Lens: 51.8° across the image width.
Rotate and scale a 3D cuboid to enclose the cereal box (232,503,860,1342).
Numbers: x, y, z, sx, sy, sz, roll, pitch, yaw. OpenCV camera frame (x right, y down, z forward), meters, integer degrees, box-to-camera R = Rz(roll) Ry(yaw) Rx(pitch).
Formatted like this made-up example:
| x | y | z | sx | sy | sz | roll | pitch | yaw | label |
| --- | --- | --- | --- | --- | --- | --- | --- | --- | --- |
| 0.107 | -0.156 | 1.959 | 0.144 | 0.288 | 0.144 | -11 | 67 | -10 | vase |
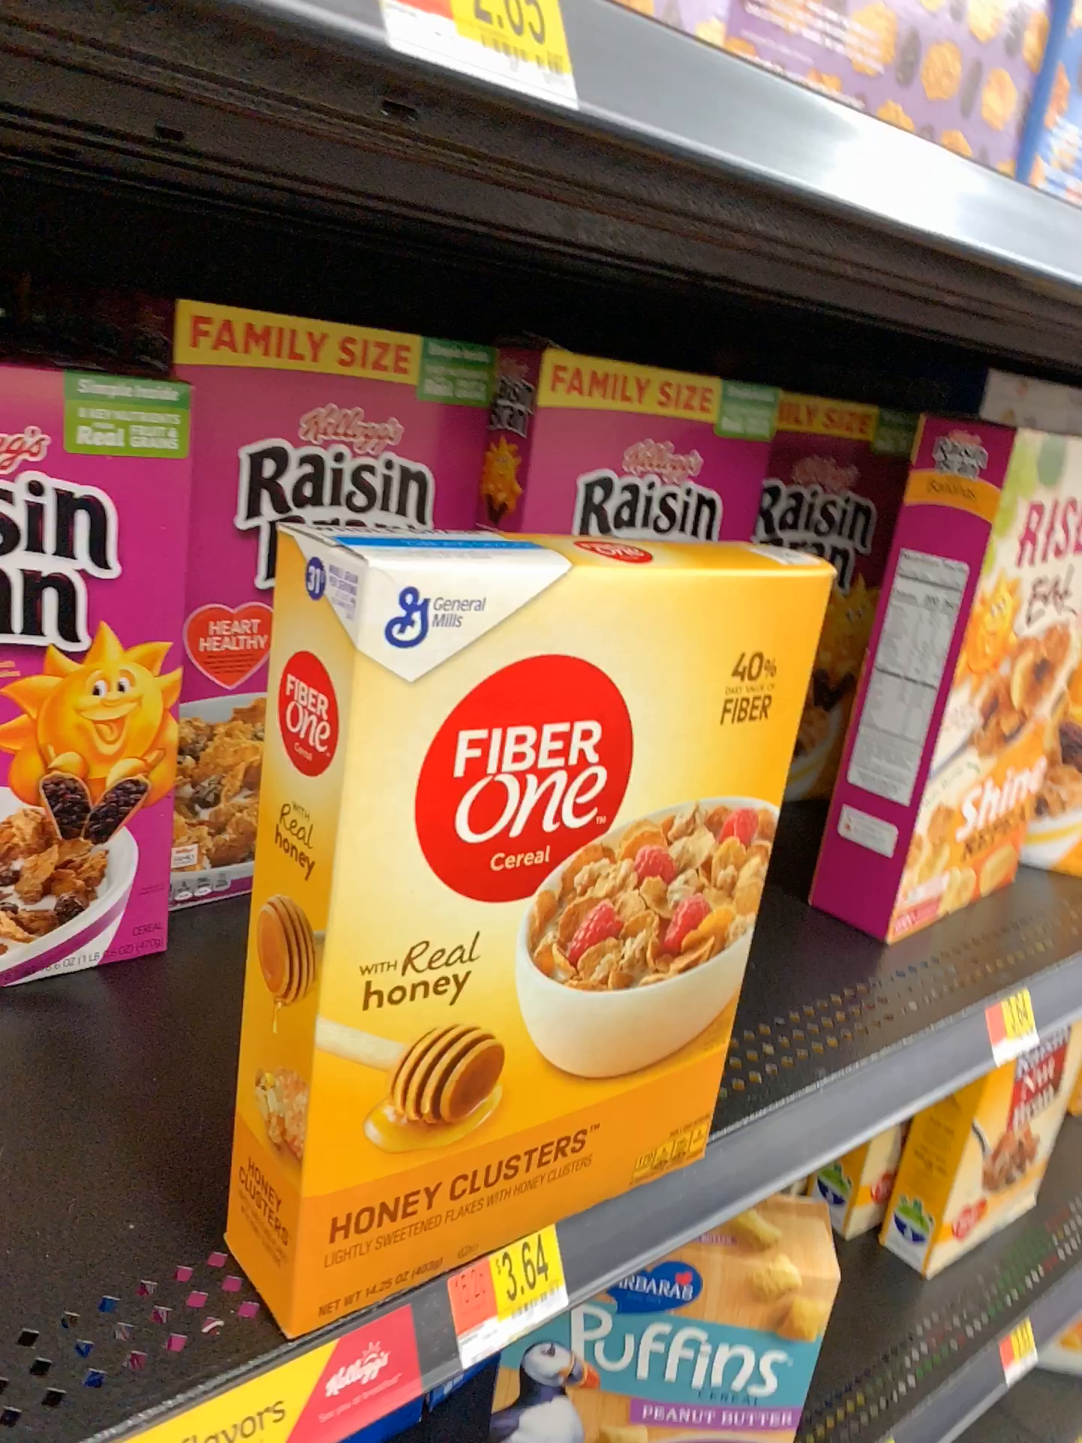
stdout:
| x | y | z | sx | sy | sz | roll | pitch | yaw | label |
| --- | --- | --- | --- | --- | --- | --- | --- | --- | --- |
| 0.003 | 0.060 | 0.397 | 0.200 | 0.259 | 0.050 | -5 | 22 | -37 | cereal box |
